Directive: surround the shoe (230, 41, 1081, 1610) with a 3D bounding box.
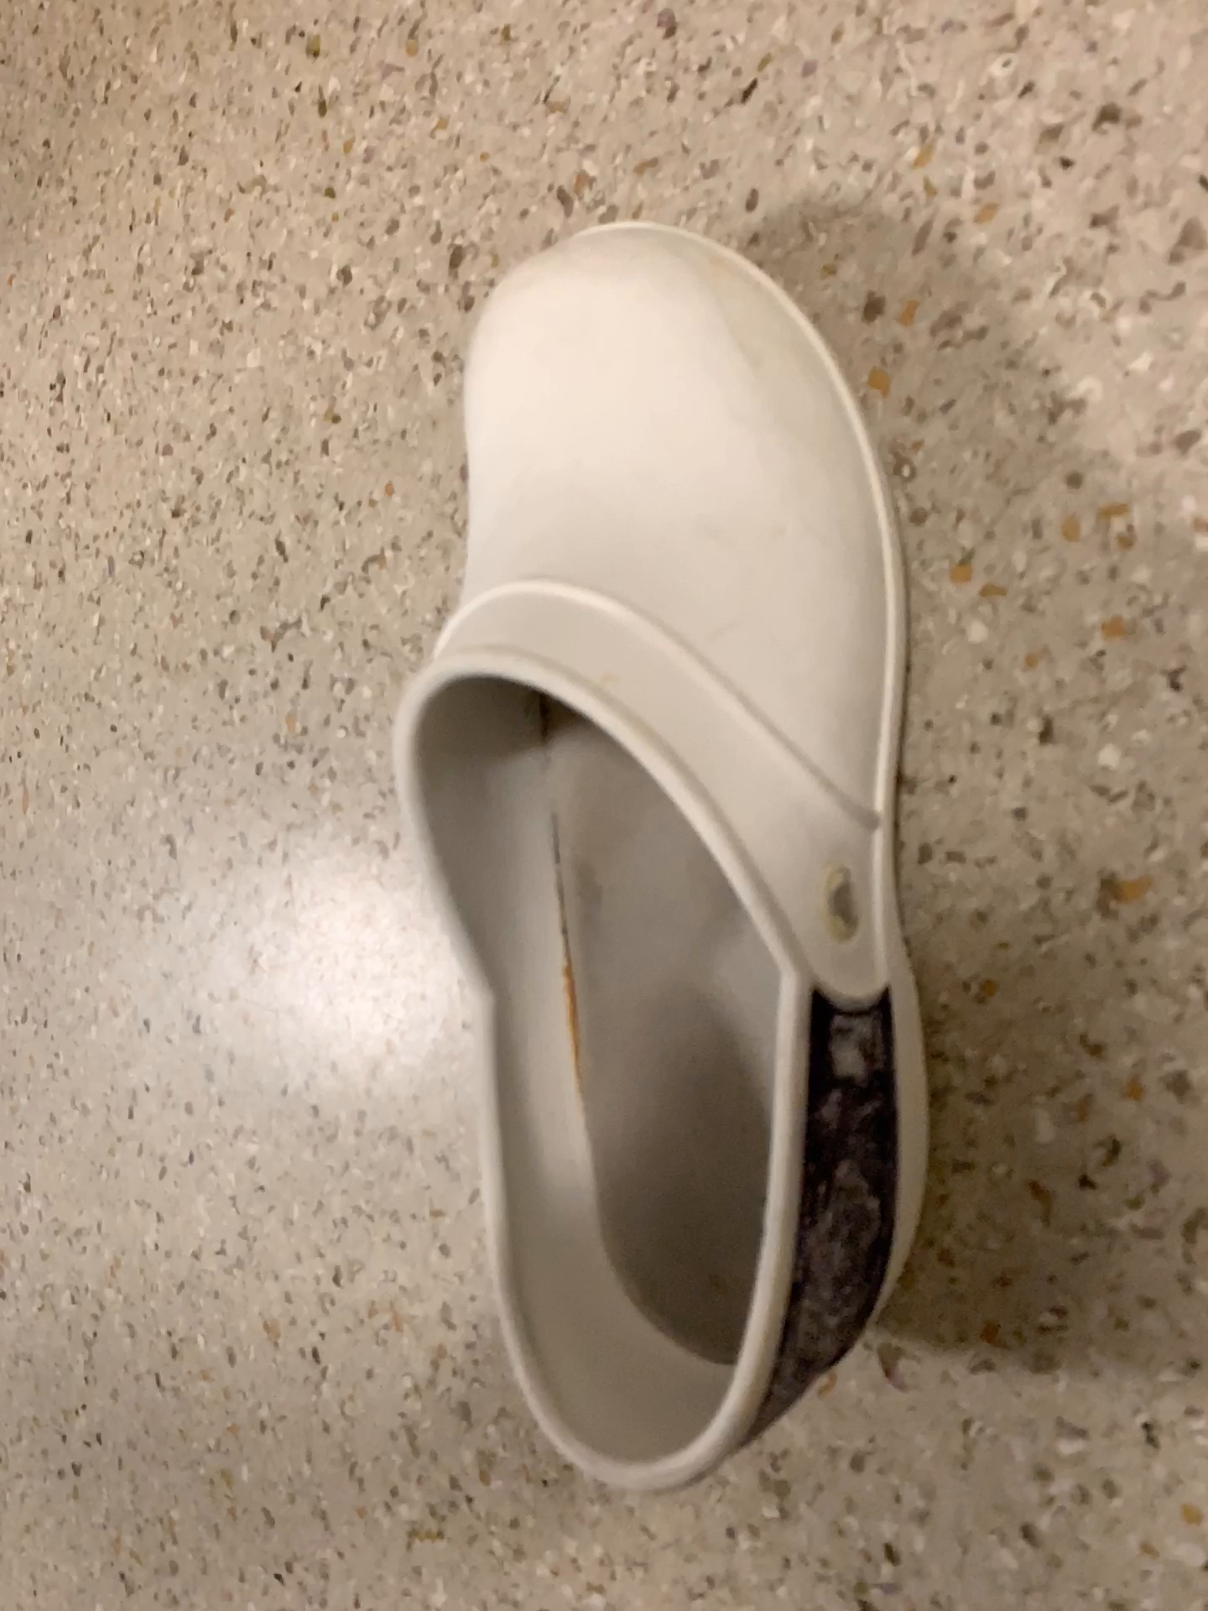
[{"bbox_3d":[0.008,0.007,0.262,0.107,0.101,0.254,-14,80,37],"label":"shoe"}]
